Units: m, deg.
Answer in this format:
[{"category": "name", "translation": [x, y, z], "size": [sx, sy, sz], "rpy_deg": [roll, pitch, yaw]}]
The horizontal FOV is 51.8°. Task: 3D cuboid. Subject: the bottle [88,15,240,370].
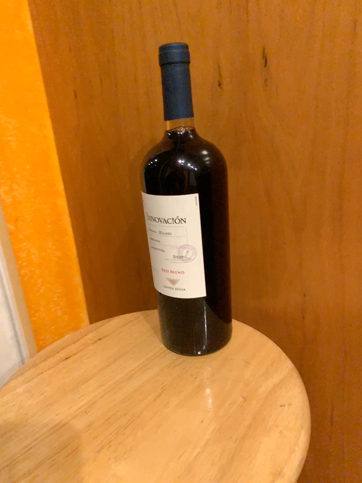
[{"category": "bottle", "translation": [-0.007, -0.037, 0.367], "size": [0.090, 0.299, 0.080], "rpy_deg": [9, 23, 37]}]
